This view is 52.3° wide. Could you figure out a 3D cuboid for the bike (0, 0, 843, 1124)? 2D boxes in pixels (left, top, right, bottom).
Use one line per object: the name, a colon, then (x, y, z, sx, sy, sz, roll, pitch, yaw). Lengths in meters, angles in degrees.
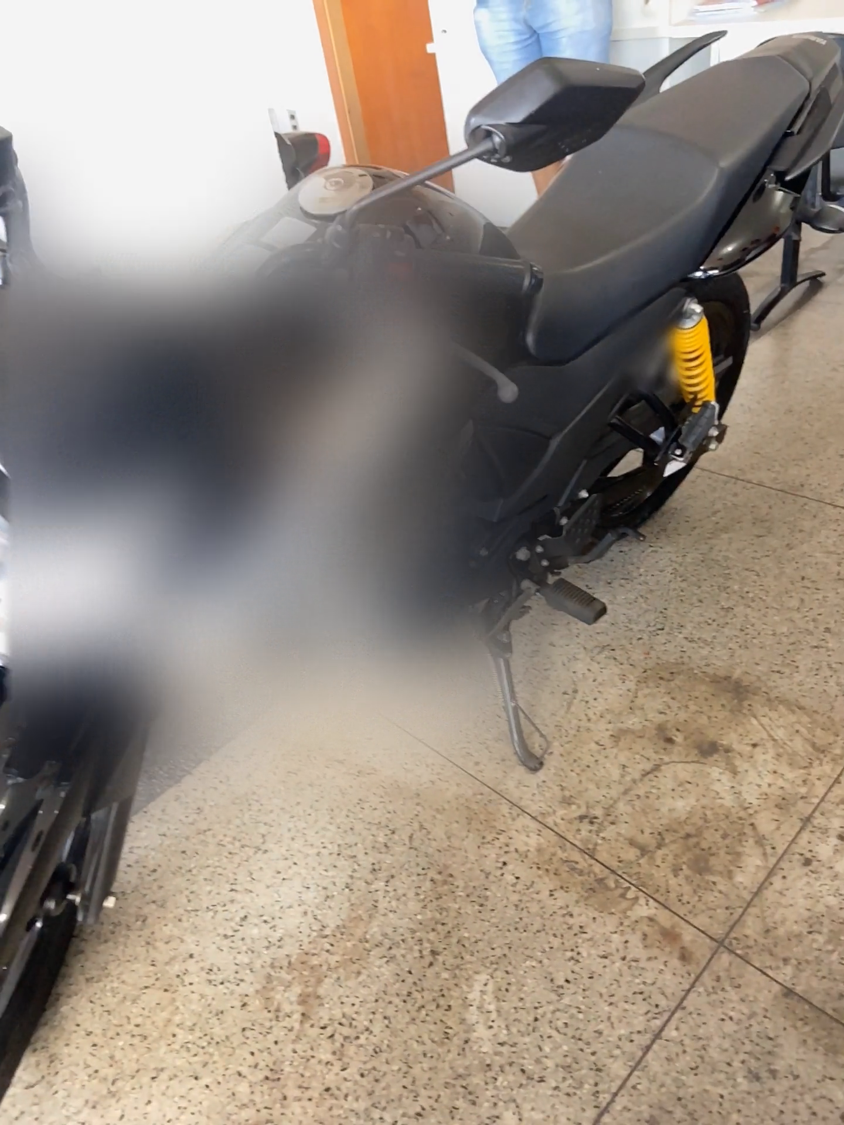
bike: (0.175, -0.113, 1.186, 0.817, 1.331, 2.009, 18, 45, 36)
